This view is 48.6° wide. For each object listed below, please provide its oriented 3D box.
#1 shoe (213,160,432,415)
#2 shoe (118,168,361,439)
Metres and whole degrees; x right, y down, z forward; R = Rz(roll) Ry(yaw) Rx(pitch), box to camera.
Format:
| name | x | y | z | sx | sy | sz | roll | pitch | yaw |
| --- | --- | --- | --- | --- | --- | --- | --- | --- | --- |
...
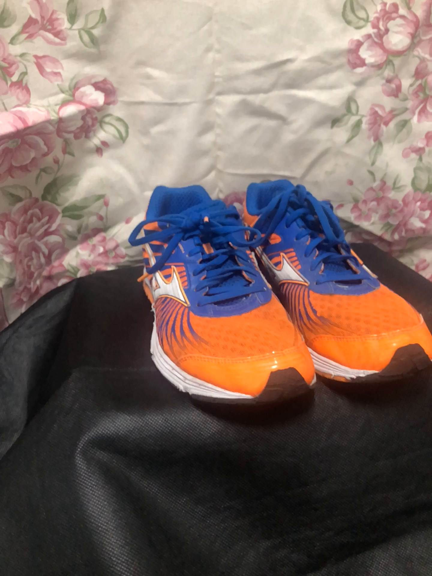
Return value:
| name | x | y | z | sx | sy | sz | roll | pitch | yaw |
| --- | --- | --- | --- | --- | --- | --- | --- | --- | --- |
| shoe | 0.083 | -0.024 | 0.385 | 0.110 | 0.109 | 0.222 | -8 | 26 | -15 |
| shoe | -0.003 | -0.013 | 0.373 | 0.110 | 0.109 | 0.222 | -8 | 26 | -15 |
